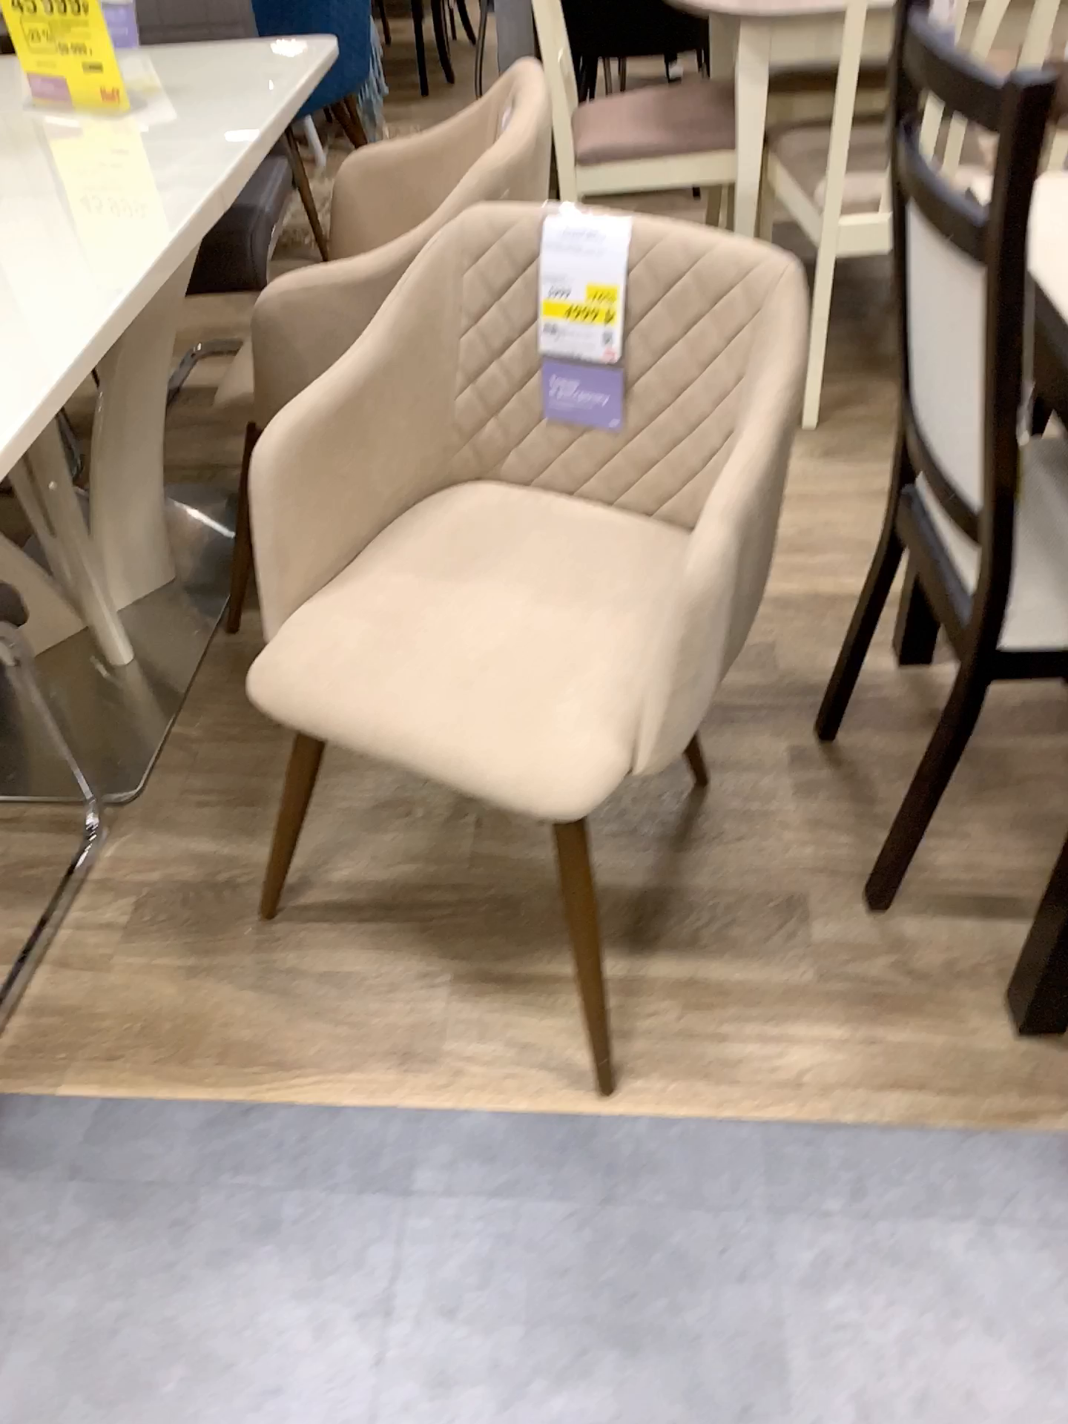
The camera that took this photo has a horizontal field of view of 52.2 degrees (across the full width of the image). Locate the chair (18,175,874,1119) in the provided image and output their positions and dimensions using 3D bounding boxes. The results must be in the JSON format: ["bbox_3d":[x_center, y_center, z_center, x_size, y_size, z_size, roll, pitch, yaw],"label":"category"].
[{"bbox_3d":[-0.034,-0.084,1.319,0.601,0.835,0.572,19,48,24],"label":"chair"}]
